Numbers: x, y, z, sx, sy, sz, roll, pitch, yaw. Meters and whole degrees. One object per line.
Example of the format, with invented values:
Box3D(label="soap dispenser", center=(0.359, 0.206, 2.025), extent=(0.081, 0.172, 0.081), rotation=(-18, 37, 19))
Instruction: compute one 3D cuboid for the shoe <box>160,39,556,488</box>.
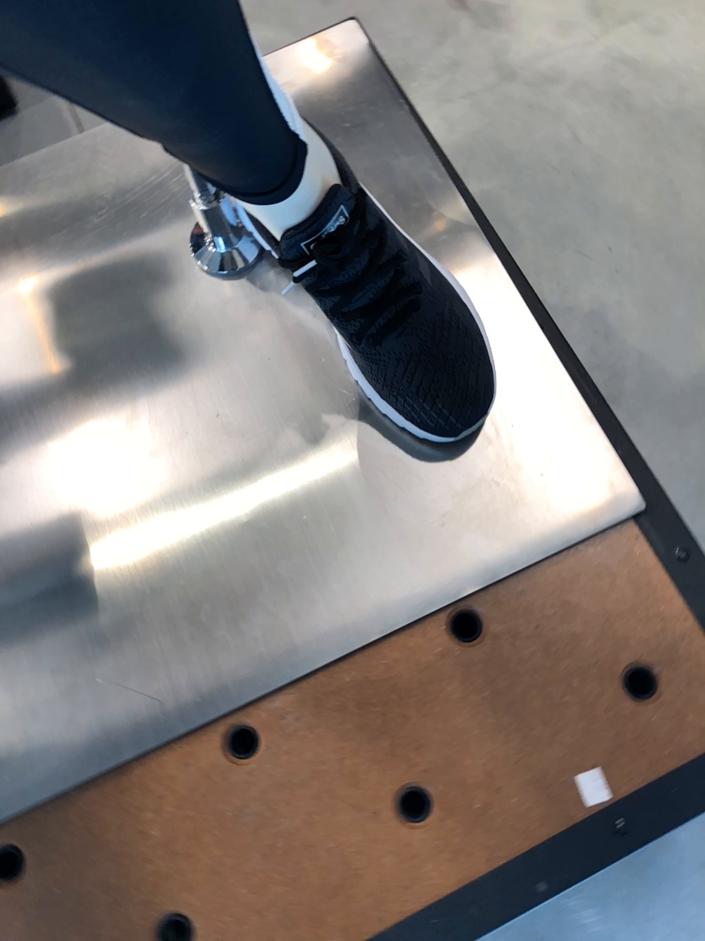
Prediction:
Box3D(label="shoe", center=(0.004, -0.140, 0.560), extent=(0.110, 0.100, 0.290), rotation=(-37, 82, 2))
